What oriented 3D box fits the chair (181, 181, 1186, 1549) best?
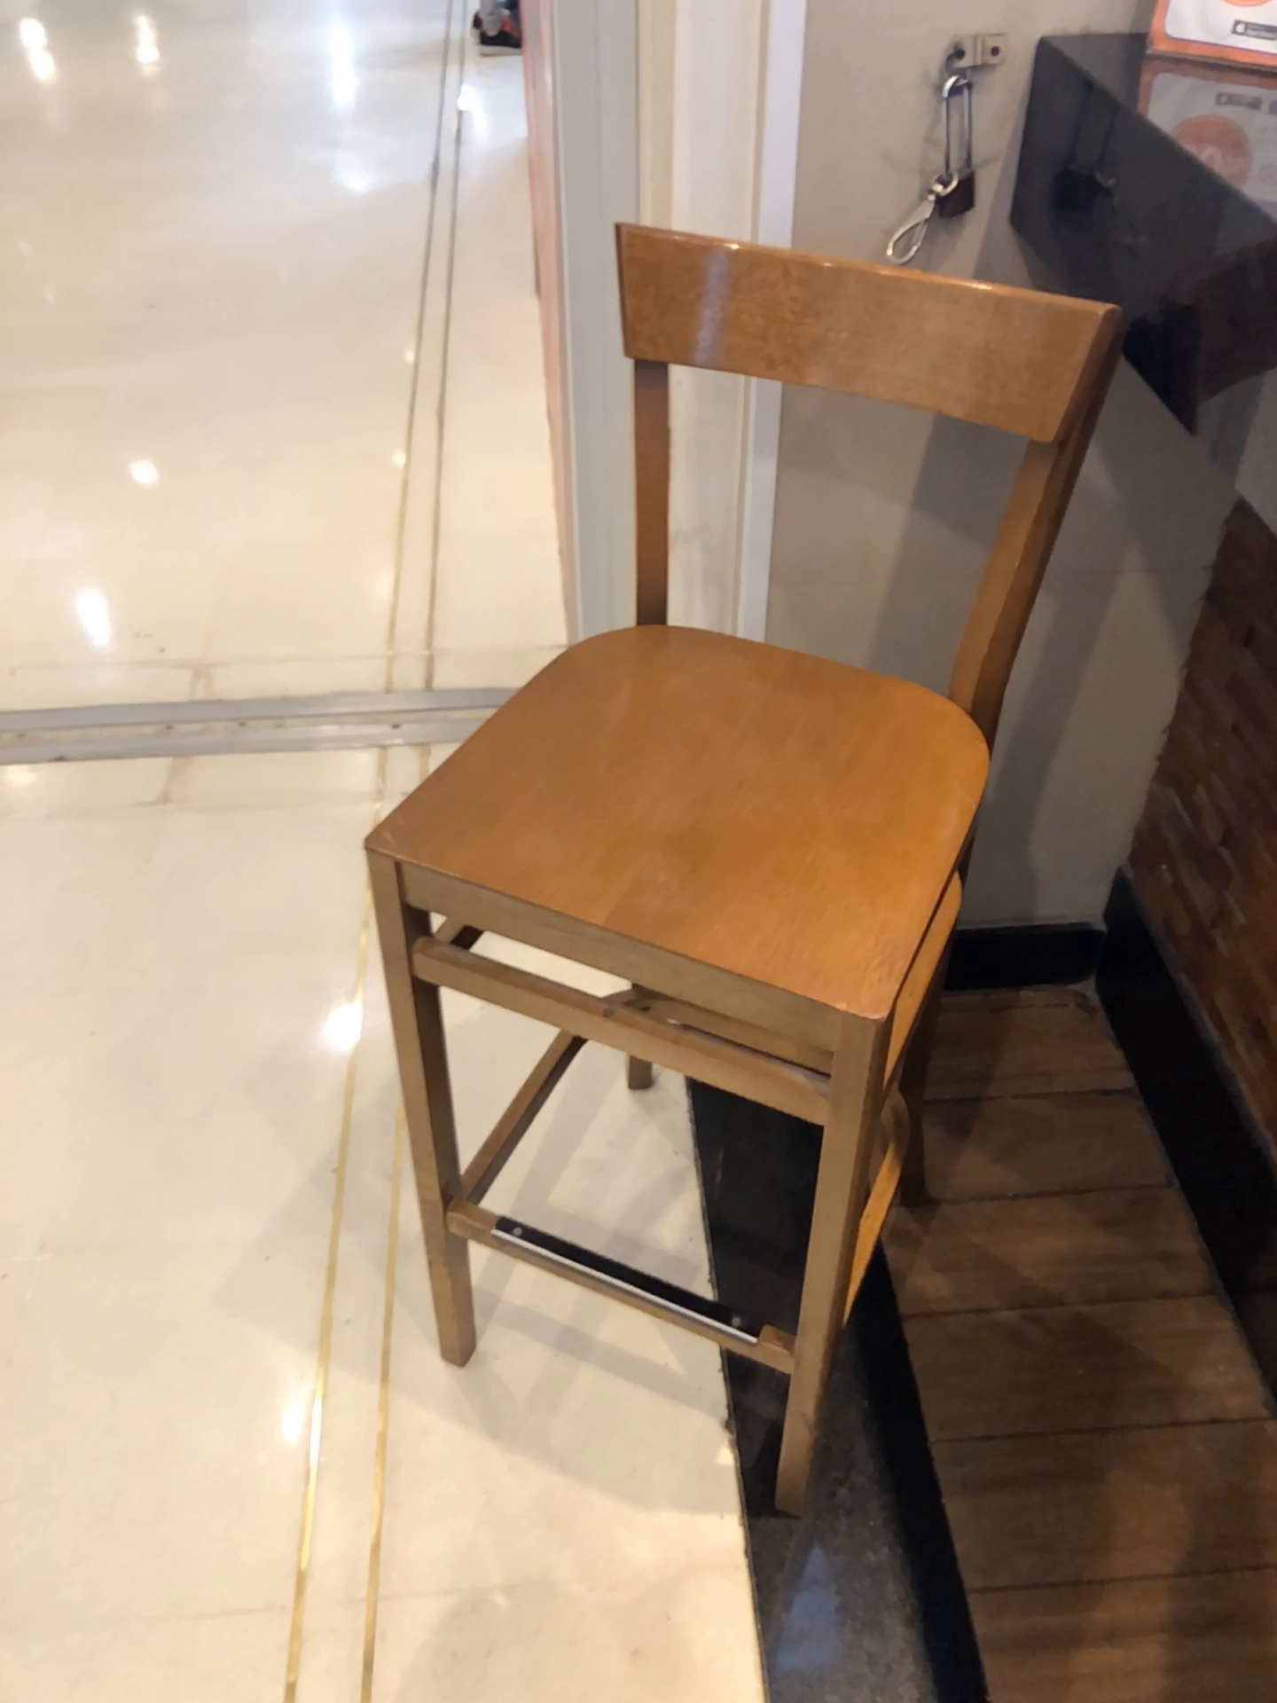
[{"bbox_3d":[0.068,0.048,1.232,0.481,0.992,0.533,16,44,17],"label":"chair"}]
